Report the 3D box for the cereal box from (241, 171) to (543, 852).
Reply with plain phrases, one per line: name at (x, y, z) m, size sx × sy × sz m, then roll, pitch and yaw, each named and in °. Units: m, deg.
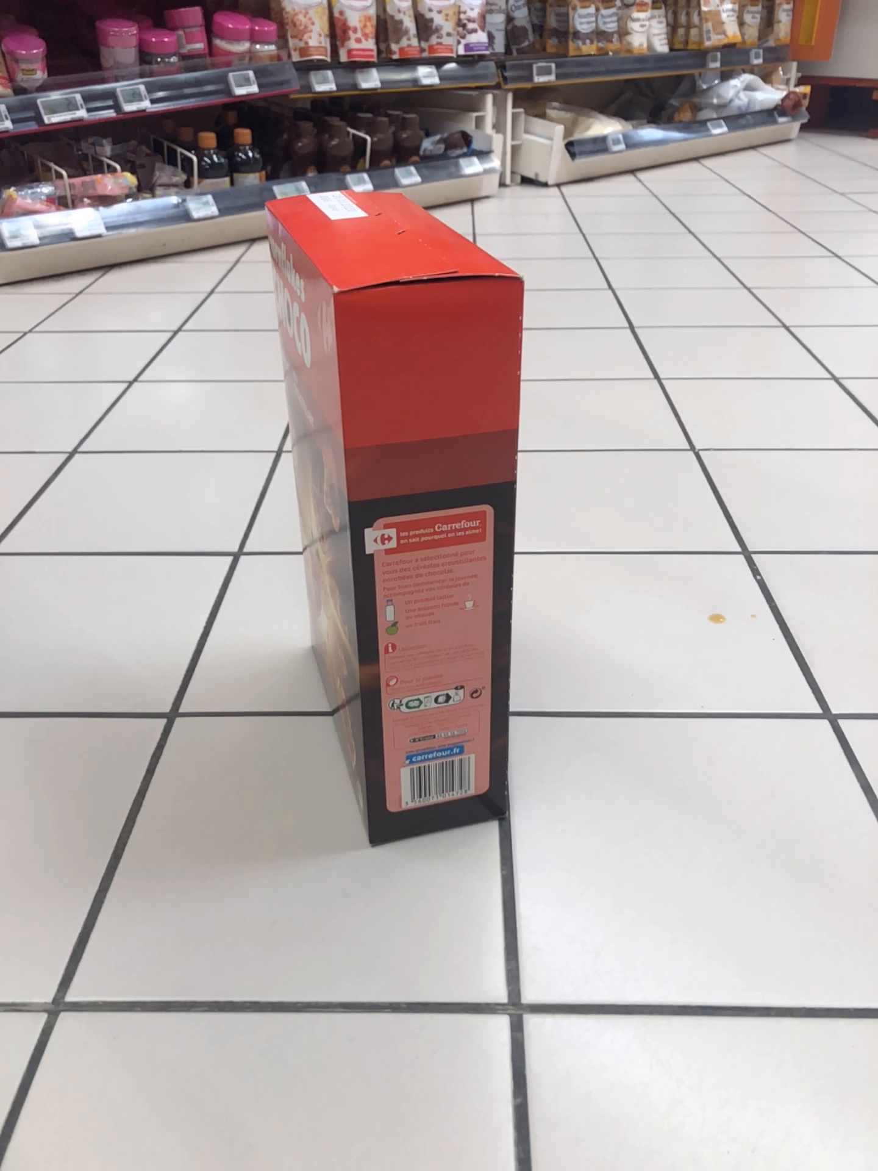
cereal box at (-0.030, -0.046, 0.493) m, size 0.090 × 0.278 × 0.201 m, roll -8°, pitch 31°, yaw -13°
